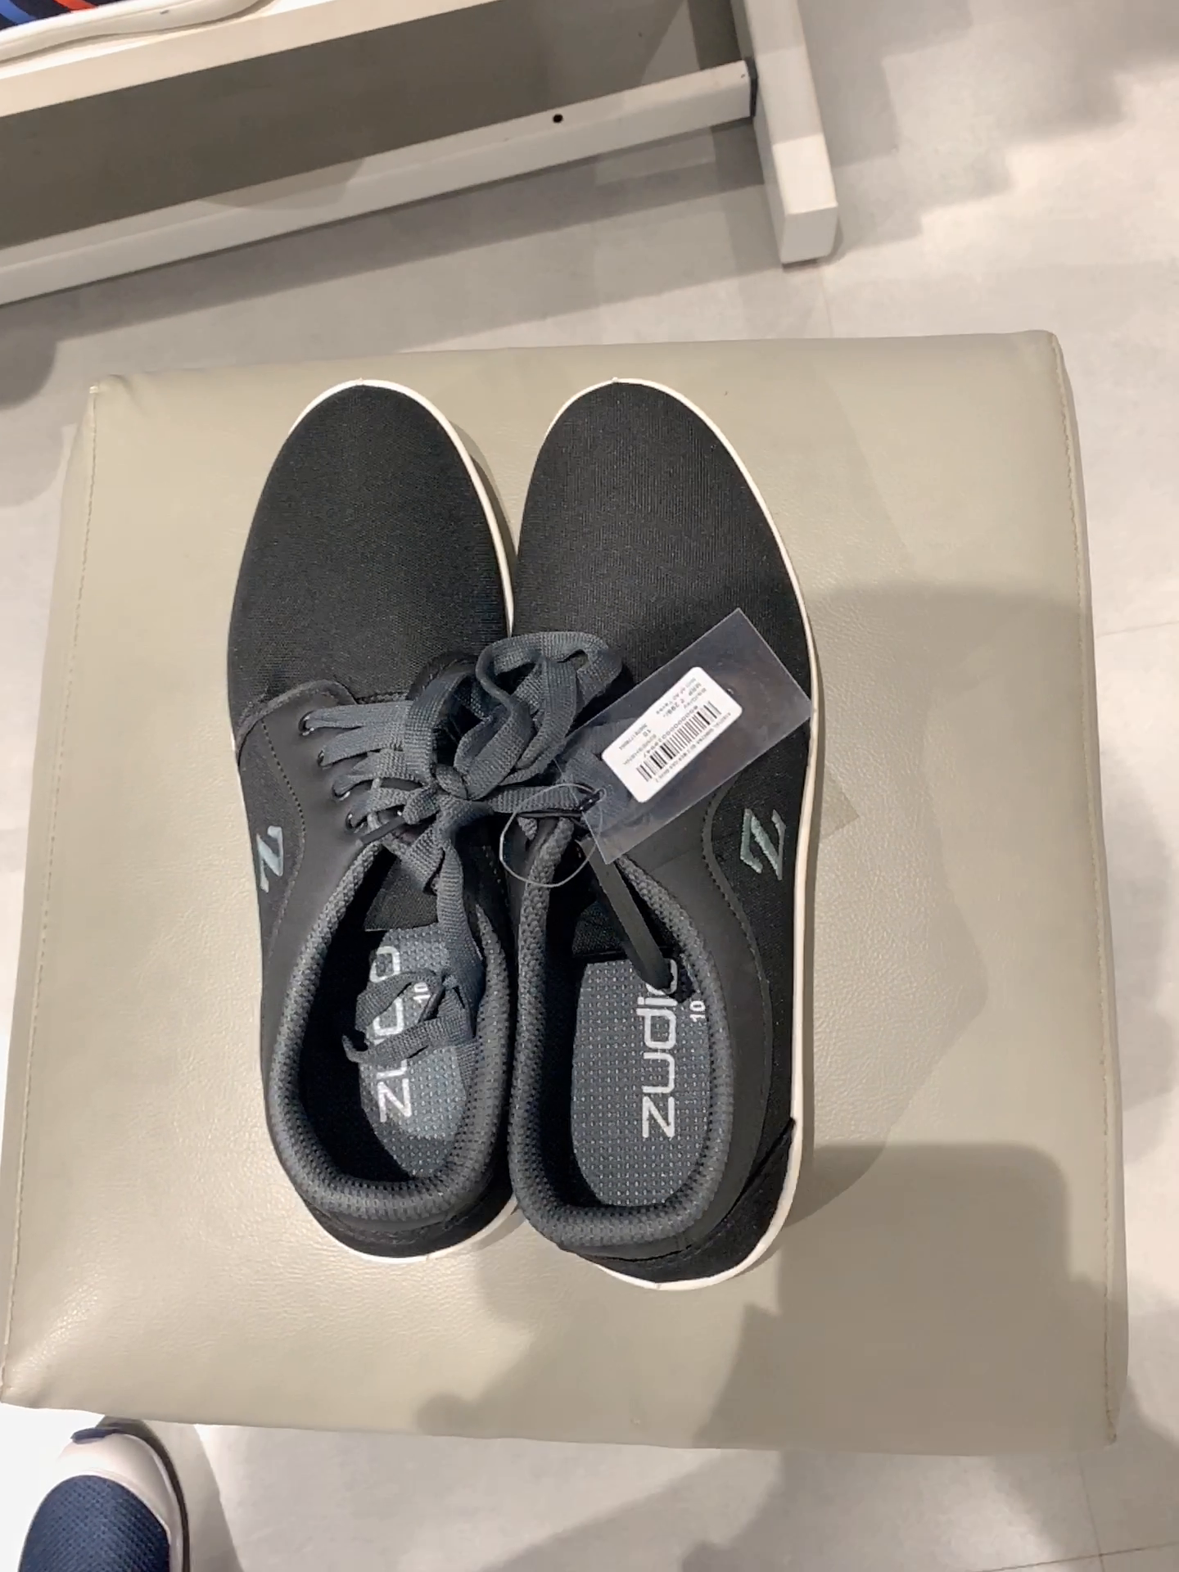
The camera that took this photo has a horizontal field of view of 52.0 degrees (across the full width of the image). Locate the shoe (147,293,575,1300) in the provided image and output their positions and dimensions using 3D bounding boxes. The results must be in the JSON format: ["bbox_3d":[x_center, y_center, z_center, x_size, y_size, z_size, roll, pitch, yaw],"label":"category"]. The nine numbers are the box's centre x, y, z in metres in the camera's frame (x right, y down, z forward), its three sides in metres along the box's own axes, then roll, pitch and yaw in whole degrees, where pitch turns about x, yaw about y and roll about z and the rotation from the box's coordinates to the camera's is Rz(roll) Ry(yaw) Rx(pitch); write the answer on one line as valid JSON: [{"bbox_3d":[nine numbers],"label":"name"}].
[{"bbox_3d":[-0.067,0.003,0.377,0.100,0.100,0.270,-4,79,4],"label":"shoe"}]

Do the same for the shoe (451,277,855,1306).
[{"bbox_3d":[0.021,0.003,0.381,0.100,0.100,0.280,-4,79,11],"label":"shoe"}]
